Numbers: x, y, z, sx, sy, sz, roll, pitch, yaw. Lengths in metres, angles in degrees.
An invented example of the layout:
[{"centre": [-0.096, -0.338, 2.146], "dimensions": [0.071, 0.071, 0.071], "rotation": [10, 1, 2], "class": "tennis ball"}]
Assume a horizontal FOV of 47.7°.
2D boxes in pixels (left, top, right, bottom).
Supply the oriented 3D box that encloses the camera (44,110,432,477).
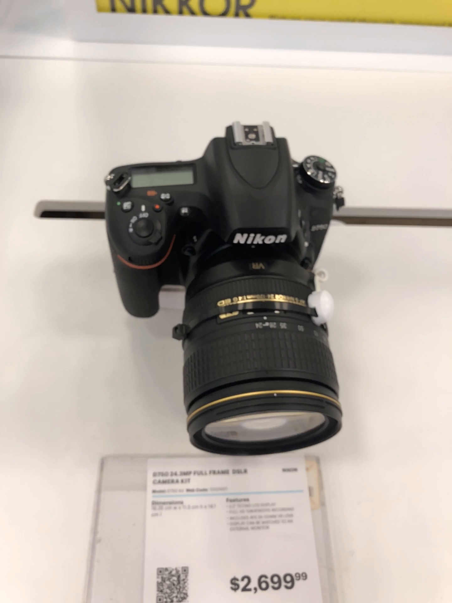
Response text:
[{"centre": [-0.002, -0.006, 0.288], "dimensions": [0.150, 0.110, 0.170], "rotation": [-2, 58, -5], "class": "camera"}]
